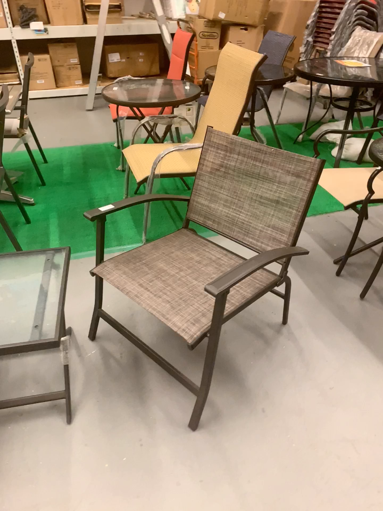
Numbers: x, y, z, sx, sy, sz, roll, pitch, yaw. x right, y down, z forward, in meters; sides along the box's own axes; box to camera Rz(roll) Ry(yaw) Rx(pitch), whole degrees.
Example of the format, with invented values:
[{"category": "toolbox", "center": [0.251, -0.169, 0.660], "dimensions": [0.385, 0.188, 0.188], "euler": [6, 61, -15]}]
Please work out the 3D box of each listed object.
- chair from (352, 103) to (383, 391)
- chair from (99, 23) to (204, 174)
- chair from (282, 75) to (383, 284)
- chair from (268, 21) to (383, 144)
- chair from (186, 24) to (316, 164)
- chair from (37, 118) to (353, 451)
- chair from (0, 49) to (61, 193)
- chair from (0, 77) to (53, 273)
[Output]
[{"category": "chair", "center": [1.184, -0.063, 1.520], "dimensions": [0.629, 0.847, 0.557], "euler": [-14, 38, -22]}, {"category": "chair", "center": [-0.339, -1.262, 3.118], "dimensions": [0.668, 0.956, 0.678], "euler": [-6, 36, -12]}, {"category": "chair", "center": [0.963, -0.410, 2.009], "dimensions": [0.629, 0.837, 0.577], "euler": [-9, 37, -17]}, {"category": "chair", "center": [1.411, -1.777, 3.981], "dimensions": [0.869, 0.996, 0.698], "euler": [-8, 37, -15]}, {"category": "chair", "center": [0.449, -1.436, 3.420], "dimensions": [0.769, 0.956, 0.738], "euler": [-9, 37, -17]}, {"category": "chair", "center": [0.029, 0.029, 1.477], "dimensions": [0.676, 0.777, 0.771], "euler": [28, 44, 33]}, {"category": "chair", "center": [-1.354, -0.978, 2.824], "dimensions": [0.628, 0.837, 0.557], "euler": [-5, 36, -11]}, {"category": "chair", "center": [-1.150, -0.434, 2.056], "dimensions": [0.628, 0.827, 0.557], "euler": [-5, 36, -11]}]
